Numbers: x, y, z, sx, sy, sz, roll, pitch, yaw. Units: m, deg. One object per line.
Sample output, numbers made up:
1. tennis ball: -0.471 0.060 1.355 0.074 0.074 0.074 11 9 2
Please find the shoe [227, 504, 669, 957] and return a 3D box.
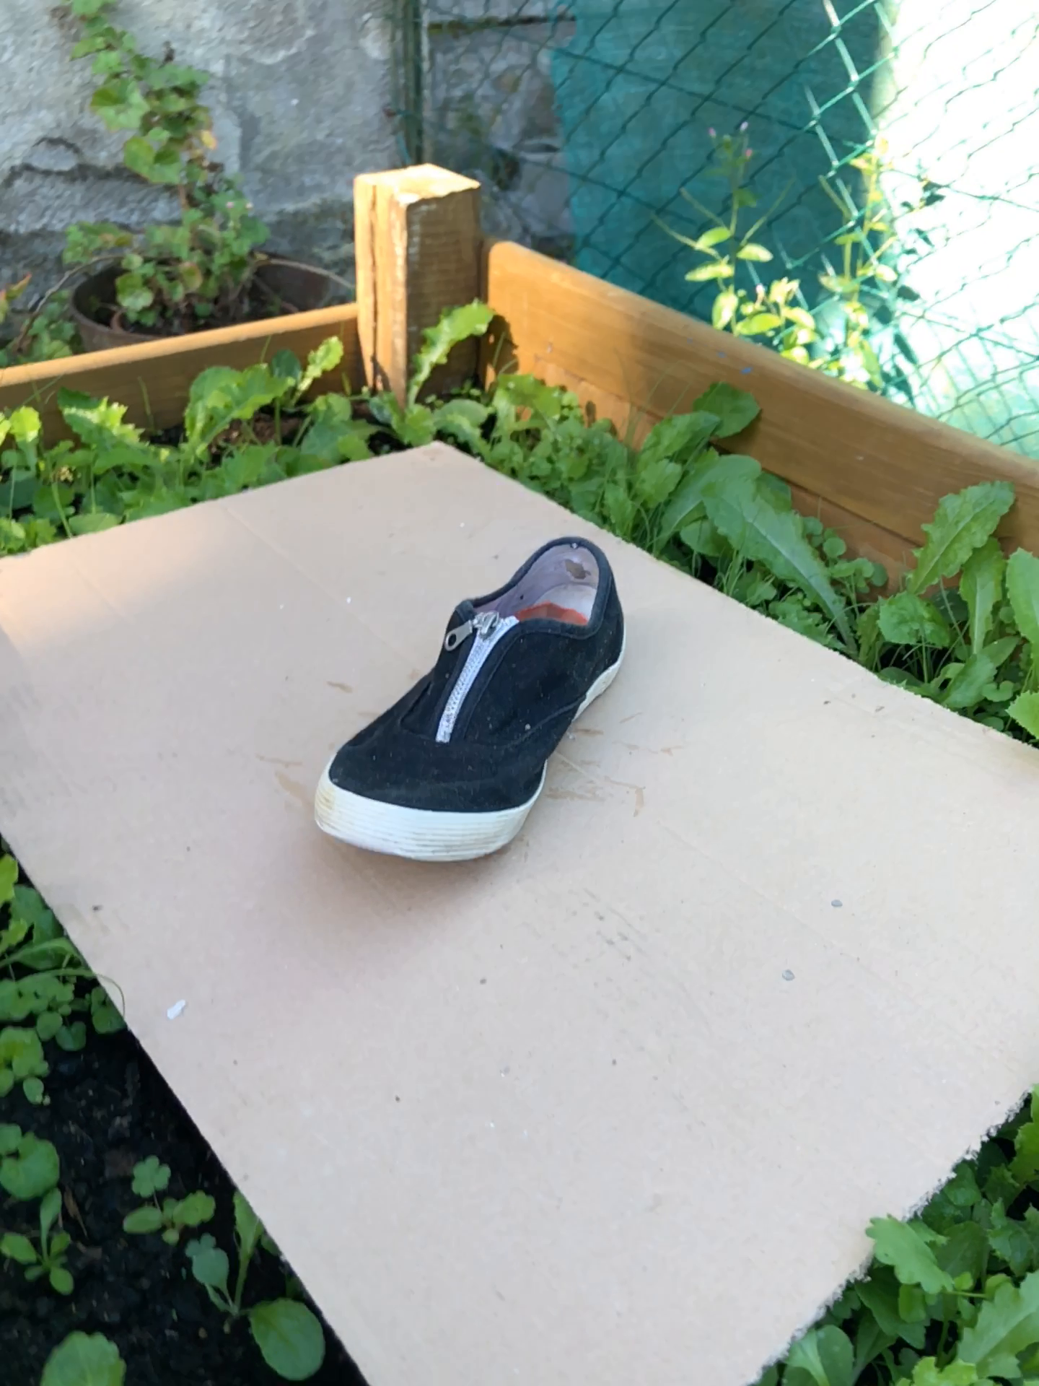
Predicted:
1. shoe: -0.020 0.002 0.554 0.100 0.070 0.242 17 40 20
